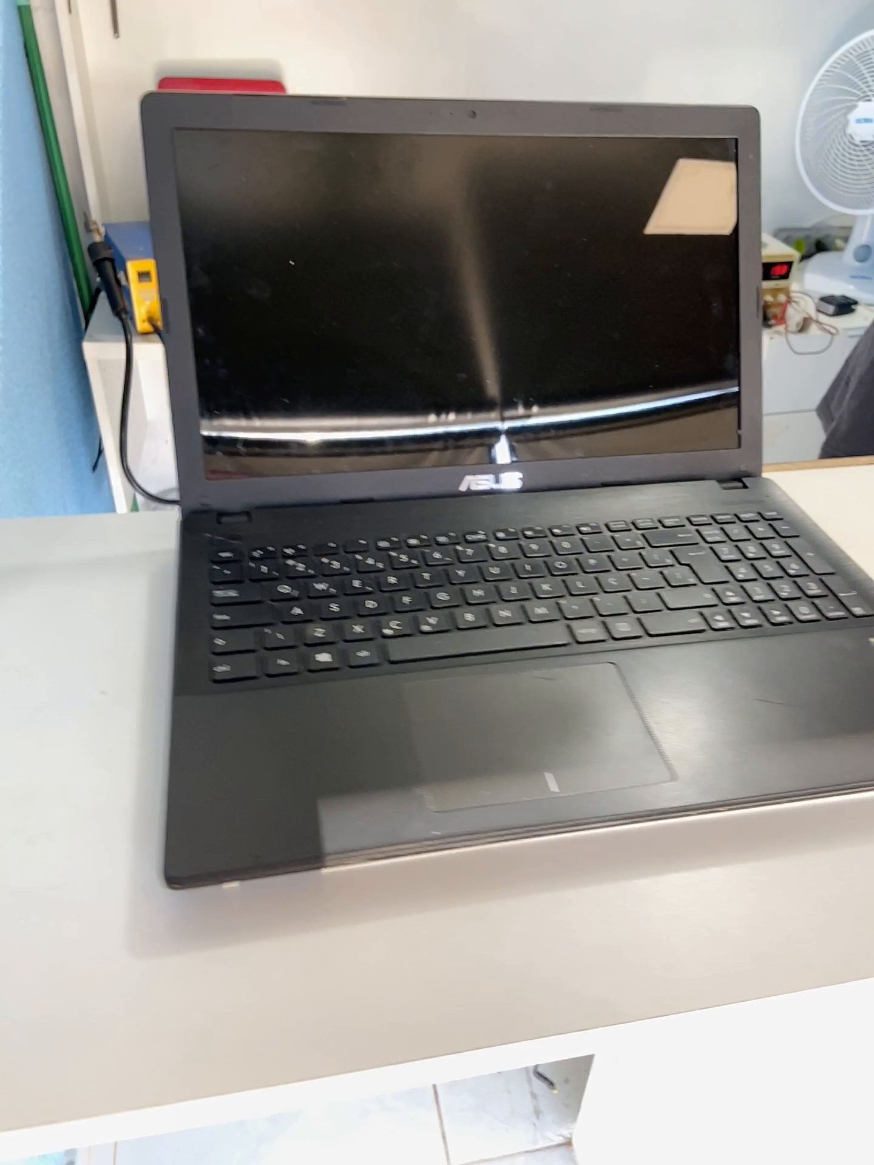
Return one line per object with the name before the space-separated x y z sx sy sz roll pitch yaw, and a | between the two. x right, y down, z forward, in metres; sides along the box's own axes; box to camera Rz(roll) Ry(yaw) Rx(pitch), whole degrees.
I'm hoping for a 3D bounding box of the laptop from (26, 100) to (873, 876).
laptop | 0.048 -0.098 0.444 0.367 0.200 0.363 -5 36 -9
